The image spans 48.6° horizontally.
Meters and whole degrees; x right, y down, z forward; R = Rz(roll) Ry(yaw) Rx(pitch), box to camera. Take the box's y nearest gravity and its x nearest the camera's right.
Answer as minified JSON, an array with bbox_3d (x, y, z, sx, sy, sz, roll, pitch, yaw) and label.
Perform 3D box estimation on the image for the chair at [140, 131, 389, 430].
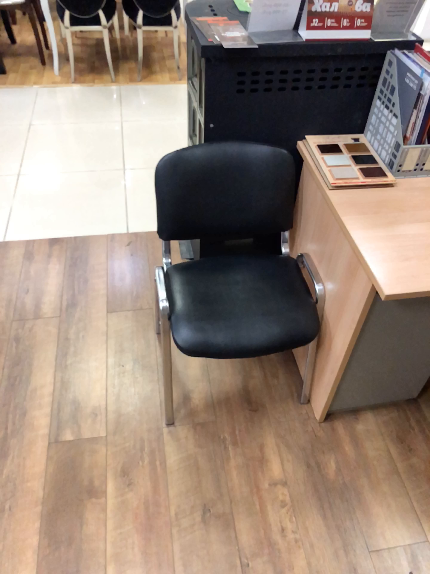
[{"bbox_3d":[0.088,0.007,1.607,0.580,0.856,0.482,-6,46,-9],"label":"chair"}]
